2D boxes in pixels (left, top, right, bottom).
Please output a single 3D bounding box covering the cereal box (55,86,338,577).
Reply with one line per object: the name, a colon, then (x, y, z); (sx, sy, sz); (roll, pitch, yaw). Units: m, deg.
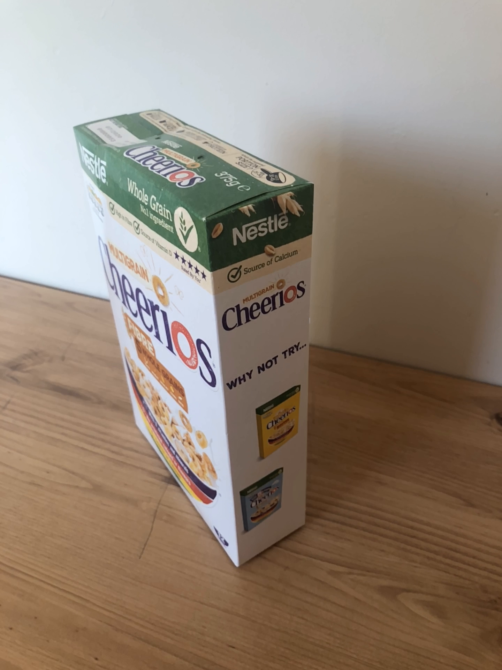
cereal box: (-0.042, -0.002, 0.432); (0.080, 0.308, 0.211); (-23, 41, -25)
